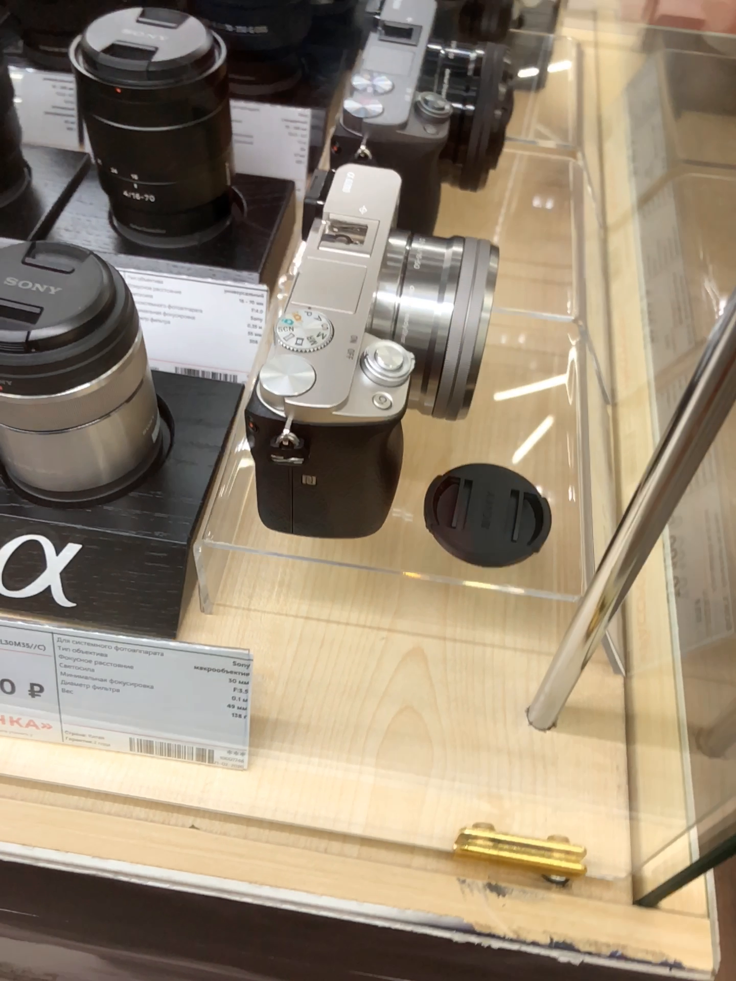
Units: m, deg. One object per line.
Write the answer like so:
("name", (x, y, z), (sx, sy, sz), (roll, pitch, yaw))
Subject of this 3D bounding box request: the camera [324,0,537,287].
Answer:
("camera", (0.030, -0.164, 0.374), (0.076, 0.061, 0.128), (10, 53, 3))

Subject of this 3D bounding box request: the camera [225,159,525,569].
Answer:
("camera", (0.007, -0.047, 0.282), (0.076, 0.061, 0.124), (10, 53, 3))
